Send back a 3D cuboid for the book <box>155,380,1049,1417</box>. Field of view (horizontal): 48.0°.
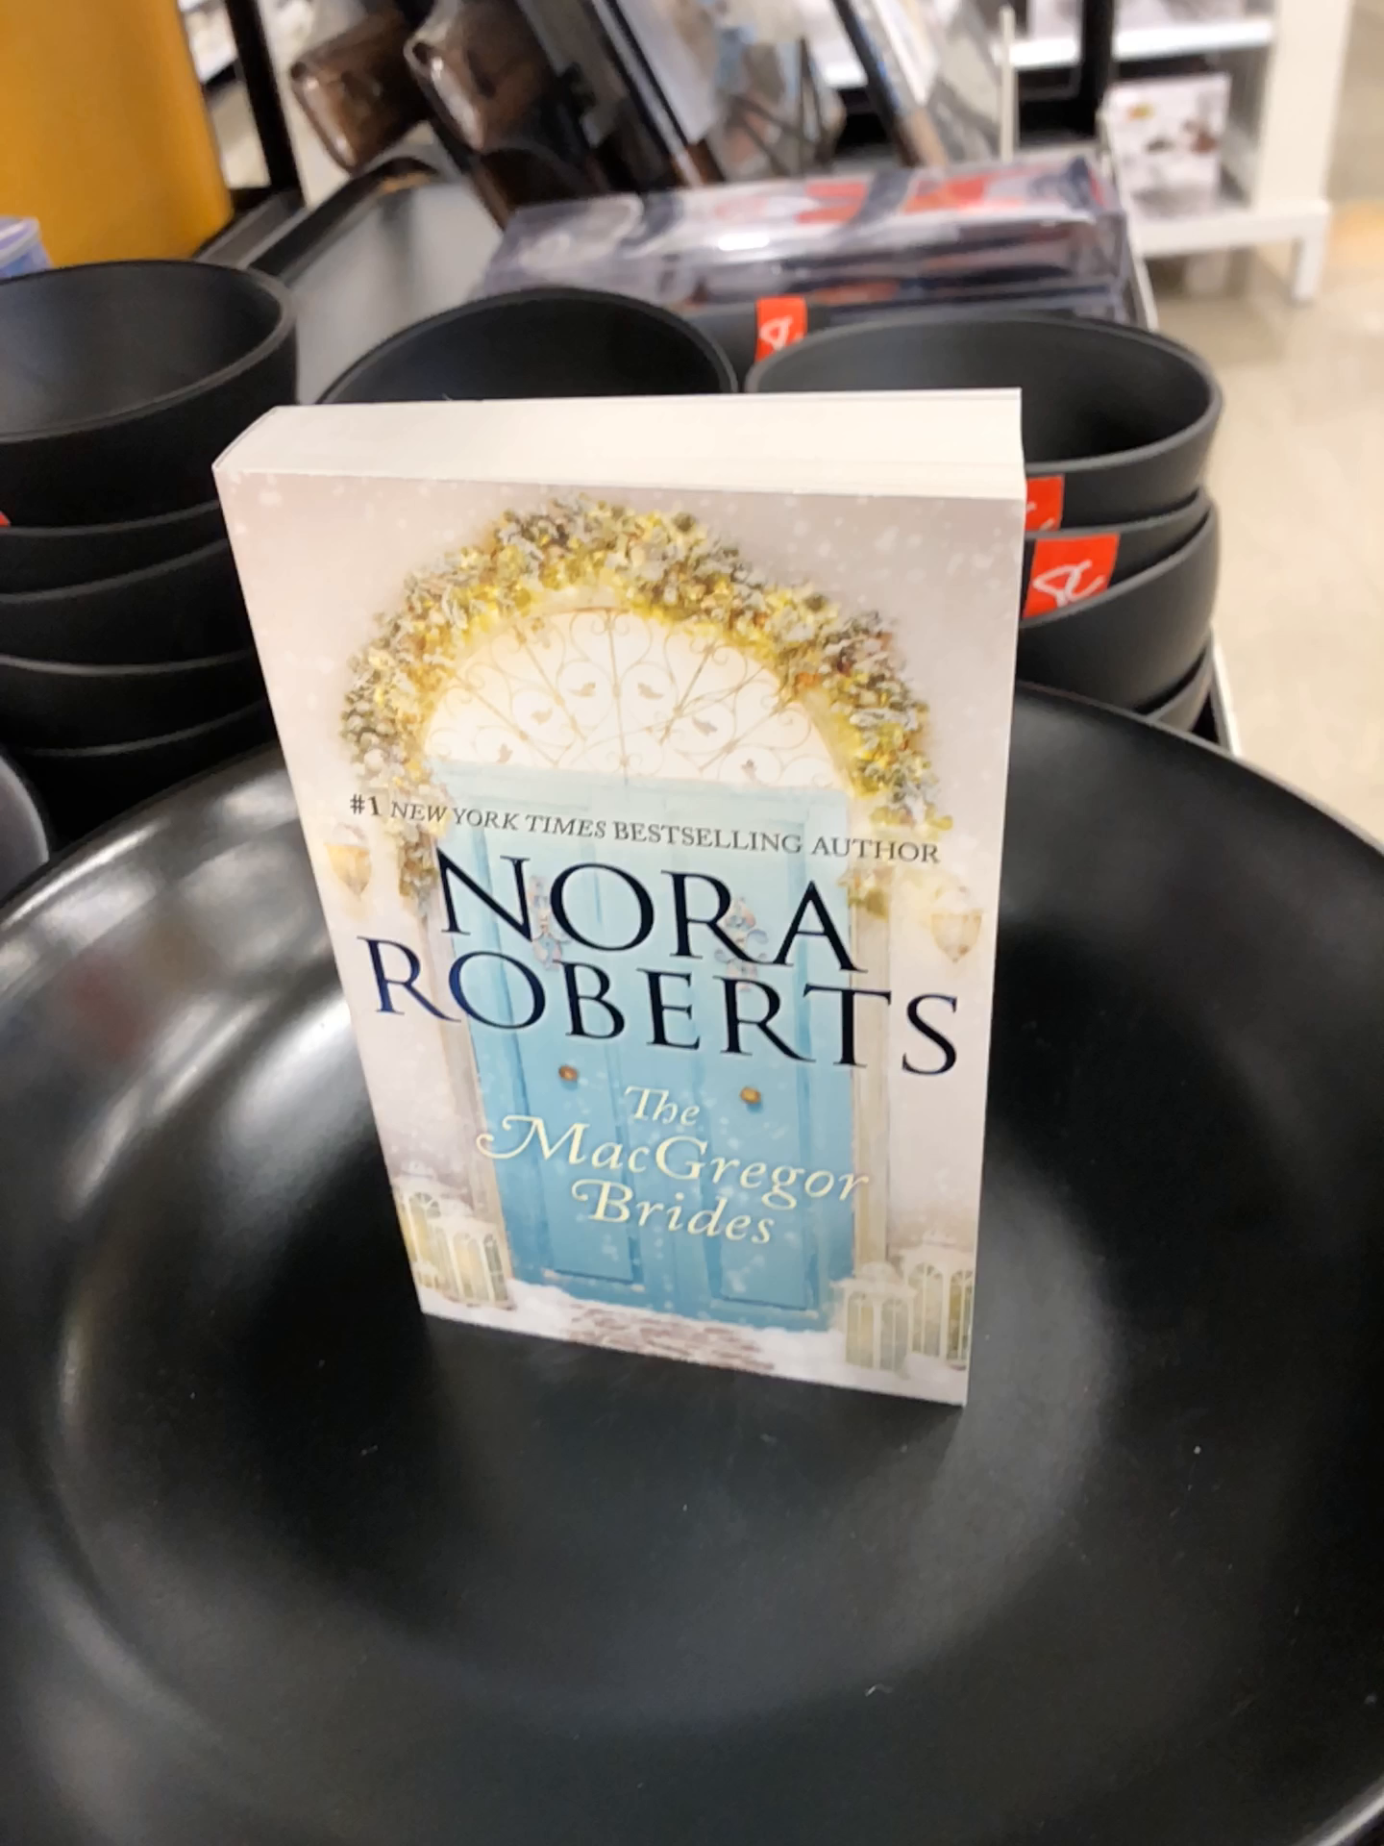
[{"bbox_3d":[-0.004,0.003,0.253,0.111,0.168,0.040,5,38,15],"label":"book"}]
